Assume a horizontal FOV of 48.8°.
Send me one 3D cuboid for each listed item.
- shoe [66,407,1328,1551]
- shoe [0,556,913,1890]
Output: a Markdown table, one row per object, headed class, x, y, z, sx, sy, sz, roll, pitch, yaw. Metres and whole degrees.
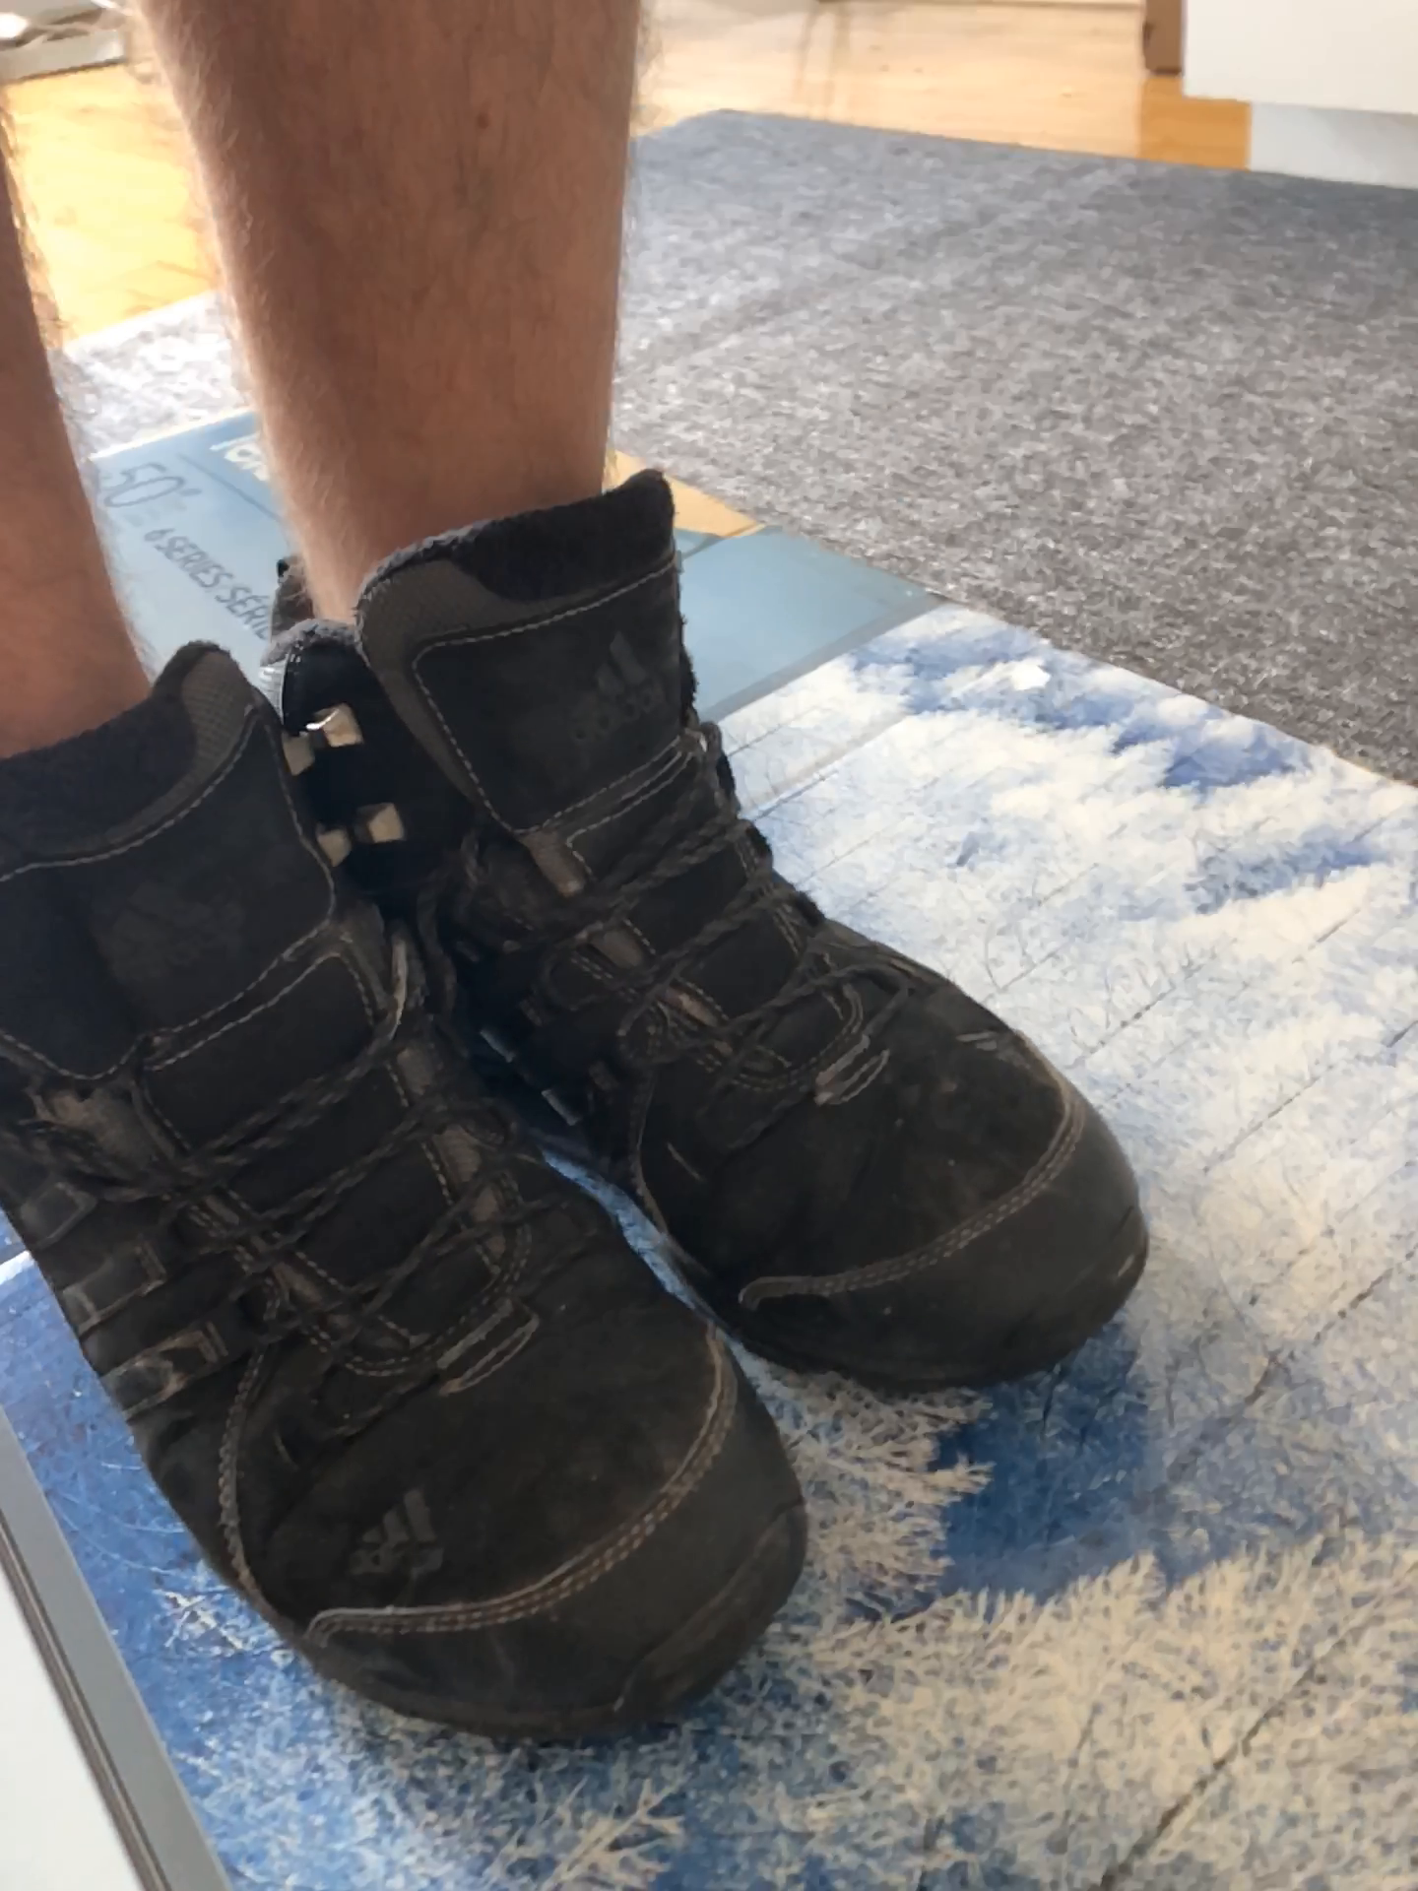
| class | x | y | z | sx | sy | sz | roll | pitch | yaw |
| --- | --- | --- | --- | --- | --- | --- | --- | --- | --- |
| shoe | -0.013 | -0.013 | 0.396 | 0.281 | 0.169 | 0.110 | 25 | 51 | 36 |
| shoe | -0.107 | 0.044 | 0.341 | 0.281 | 0.169 | 0.110 | 25 | 51 | 36 |
